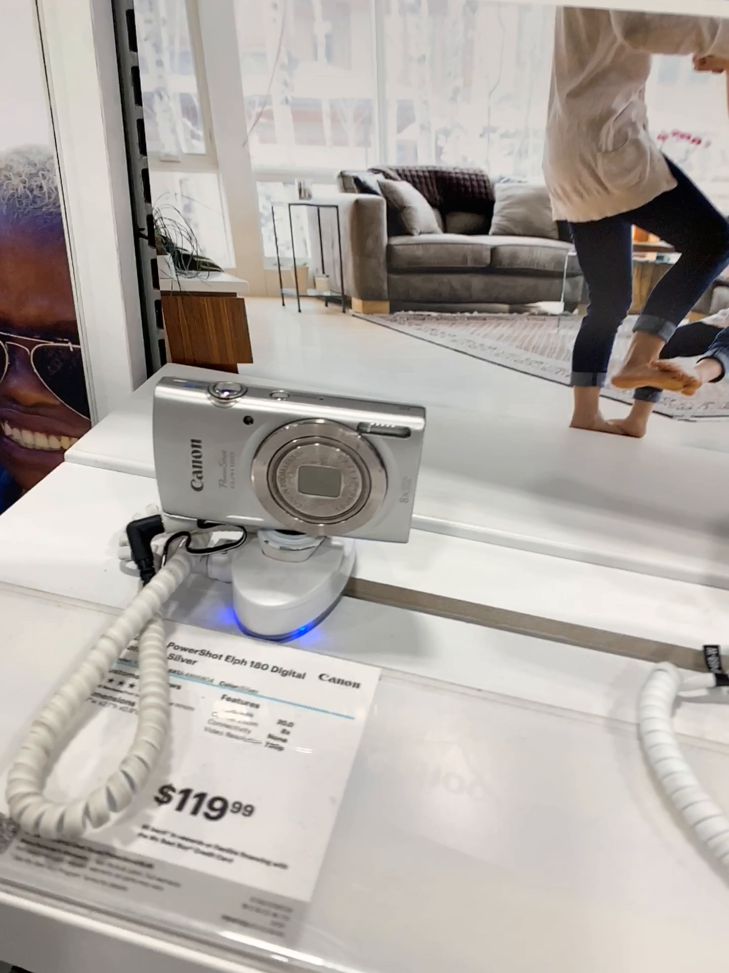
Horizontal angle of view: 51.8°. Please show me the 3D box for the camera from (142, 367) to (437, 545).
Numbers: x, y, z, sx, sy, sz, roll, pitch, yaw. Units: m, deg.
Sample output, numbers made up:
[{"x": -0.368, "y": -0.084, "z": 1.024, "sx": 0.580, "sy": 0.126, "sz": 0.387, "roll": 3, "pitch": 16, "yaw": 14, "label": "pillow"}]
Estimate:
[{"x": -0.026, "y": -0.011, "z": 0.273, "sx": 0.098, "sy": 0.051, "sz": 0.022, "roll": 7, "pitch": 38, "yaw": 3, "label": "camera"}]
